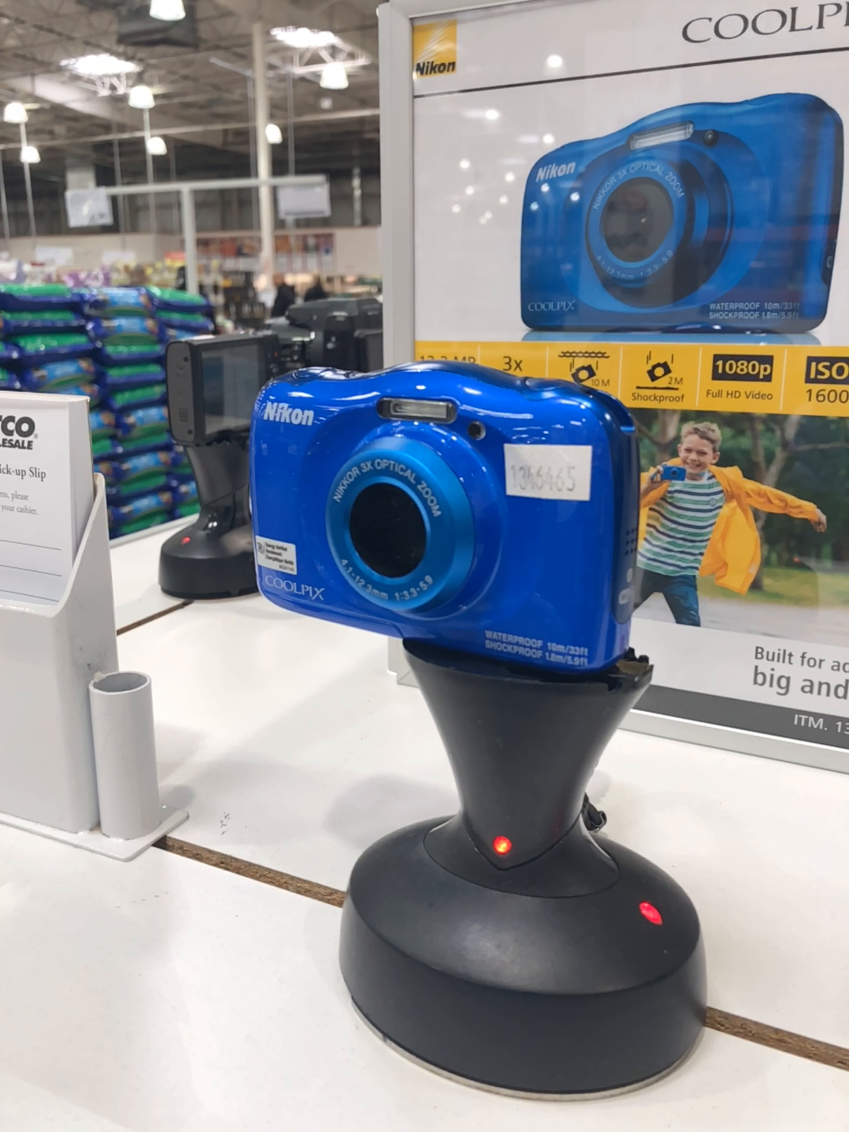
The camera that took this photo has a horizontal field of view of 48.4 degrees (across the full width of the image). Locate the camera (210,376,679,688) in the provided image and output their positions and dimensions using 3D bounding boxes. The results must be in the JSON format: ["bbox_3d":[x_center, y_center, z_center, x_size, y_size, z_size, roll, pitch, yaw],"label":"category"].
[{"bbox_3d":[0.002,-0.014,0.241,0.110,0.060,0.040,9,18,29],"label":"camera"}]
